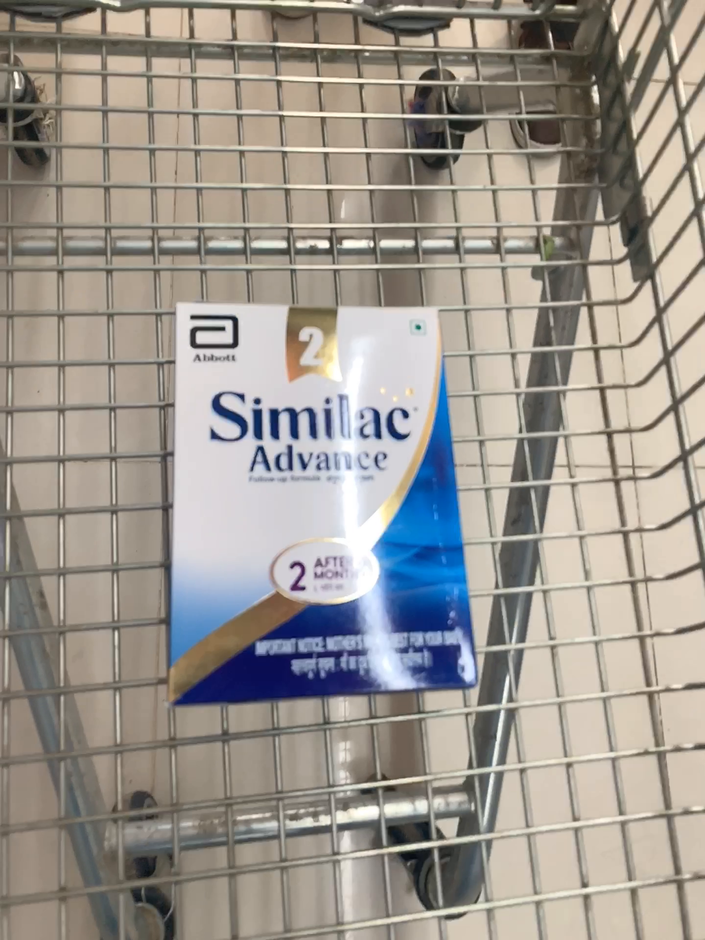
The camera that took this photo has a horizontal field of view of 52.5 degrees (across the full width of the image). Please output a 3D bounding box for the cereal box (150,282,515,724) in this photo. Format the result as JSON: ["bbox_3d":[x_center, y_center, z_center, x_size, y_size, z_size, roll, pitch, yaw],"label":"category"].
[{"bbox_3d":[-0.015,0.013,0.351,0.150,0.060,0.200,-1,72,-8],"label":"cereal box"}]
